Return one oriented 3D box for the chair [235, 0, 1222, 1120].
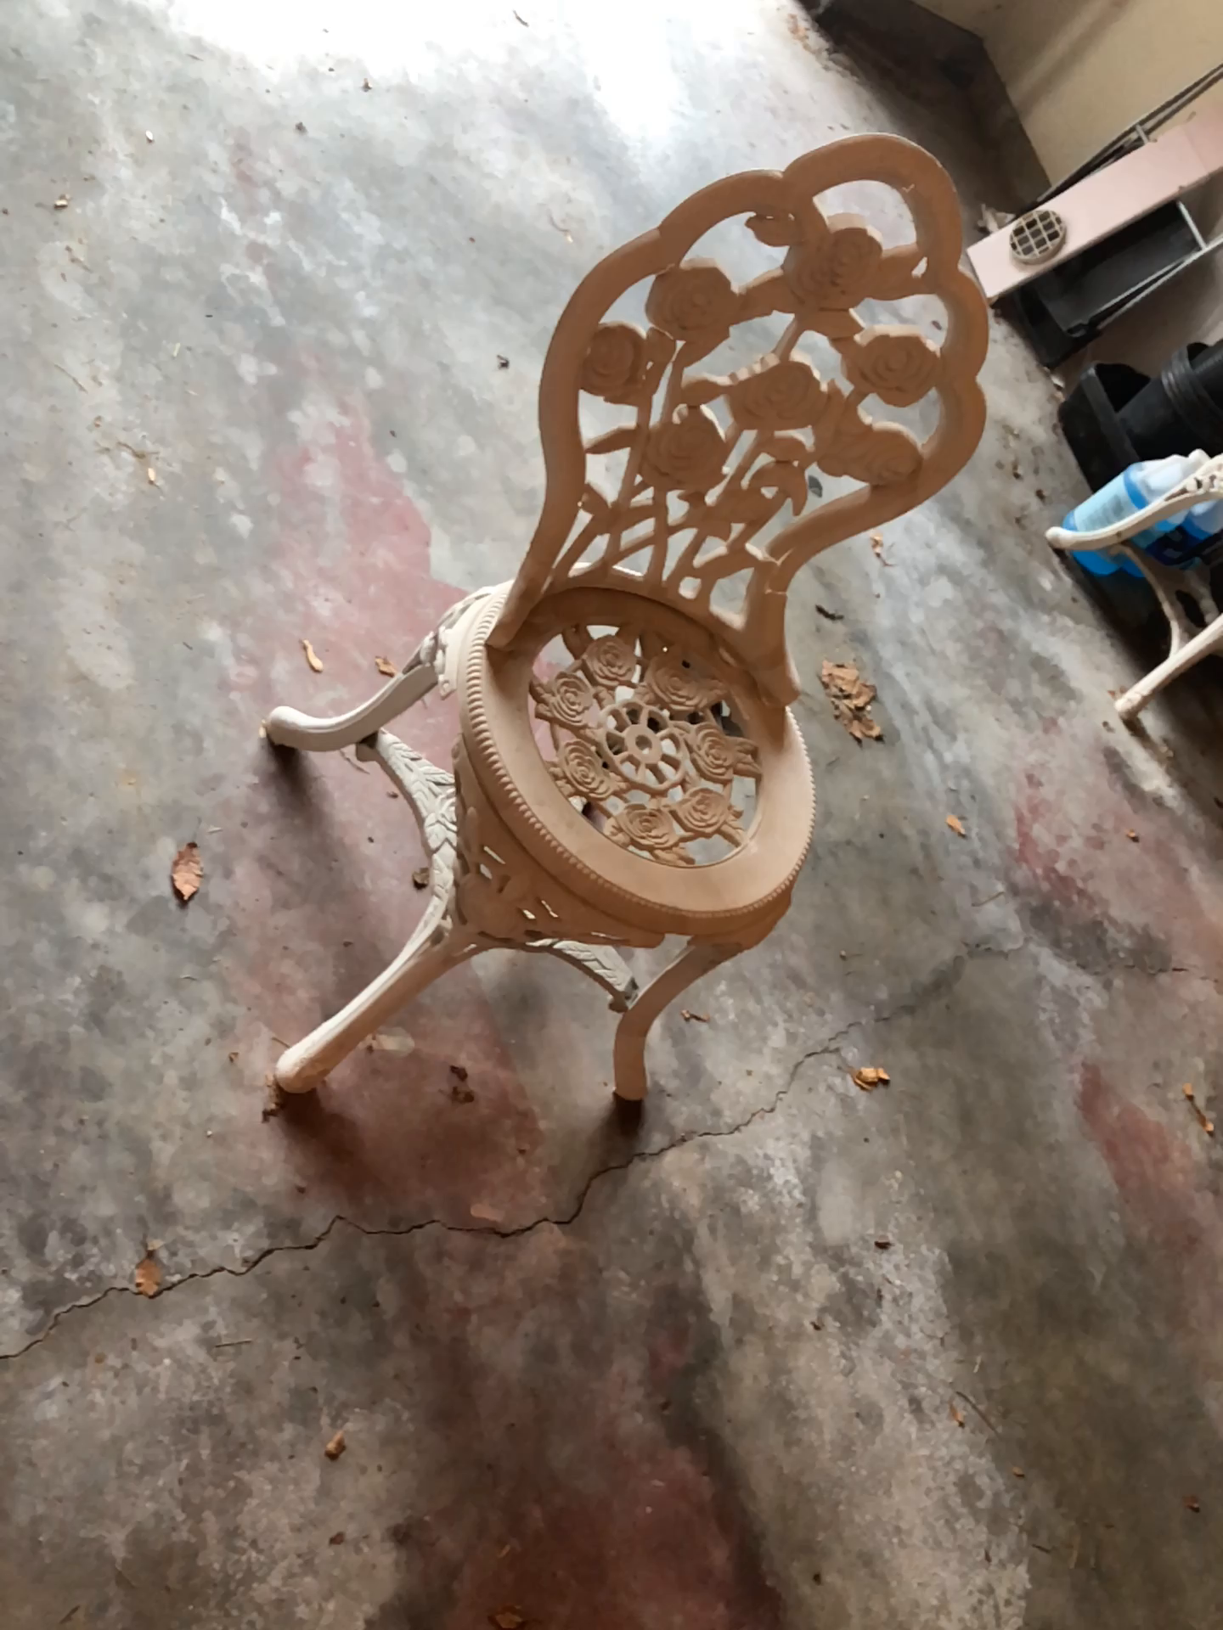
[{"bbox_3d":[0.054,-0.097,1.237,0.492,0.897,0.500,8,59,-33],"label":"chair"}]
